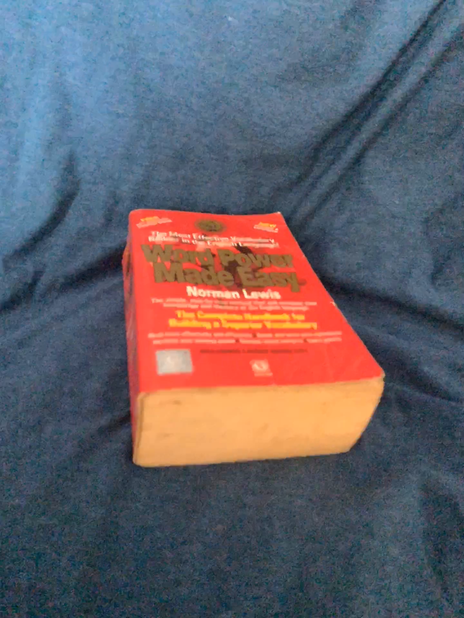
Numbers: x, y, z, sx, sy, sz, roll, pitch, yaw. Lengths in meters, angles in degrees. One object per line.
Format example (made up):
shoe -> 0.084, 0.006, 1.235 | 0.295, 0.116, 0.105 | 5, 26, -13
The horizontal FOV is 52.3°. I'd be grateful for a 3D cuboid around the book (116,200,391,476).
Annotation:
book -> -0.007, 0.000, 0.295 | 0.120, 0.050, 0.191 | 1, 37, -16
